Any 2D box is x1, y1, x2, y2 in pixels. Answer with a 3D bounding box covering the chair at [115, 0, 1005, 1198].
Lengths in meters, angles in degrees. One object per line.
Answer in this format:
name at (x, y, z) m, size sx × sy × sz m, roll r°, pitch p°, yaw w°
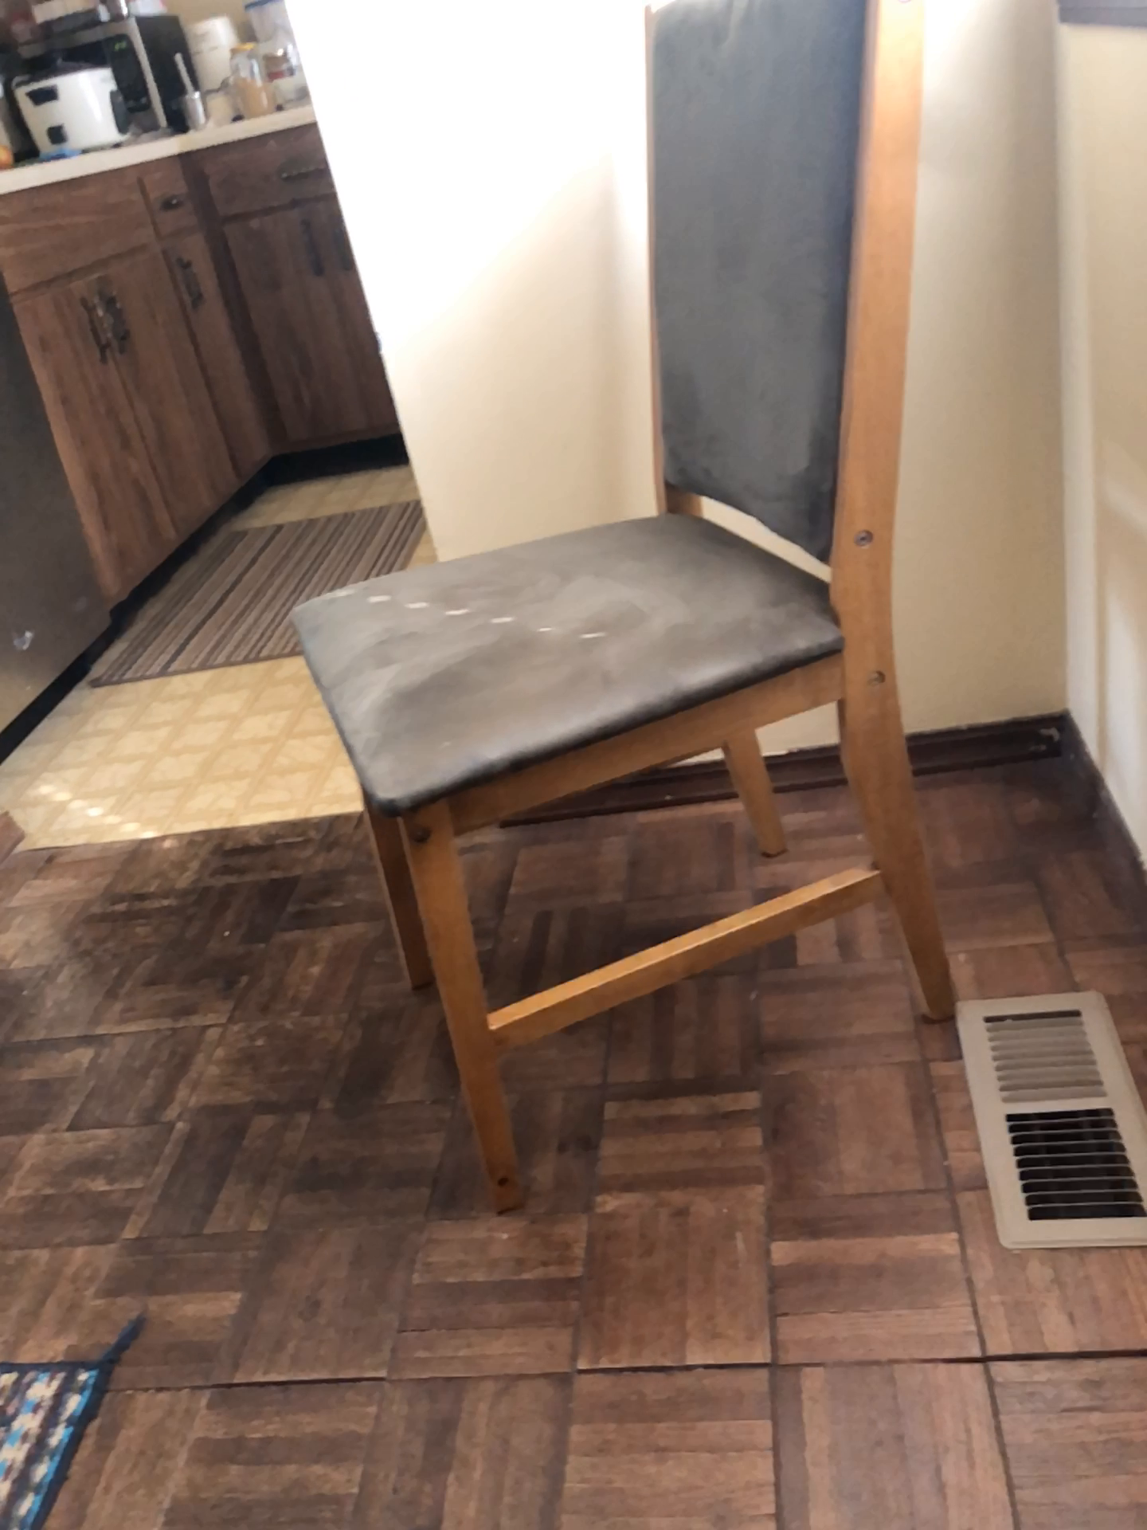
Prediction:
chair at (-0.003, -0.193, 1.098) m, size 0.510 × 0.858 × 0.491 m, roll -16°, pitch 28°, yaw -13°
